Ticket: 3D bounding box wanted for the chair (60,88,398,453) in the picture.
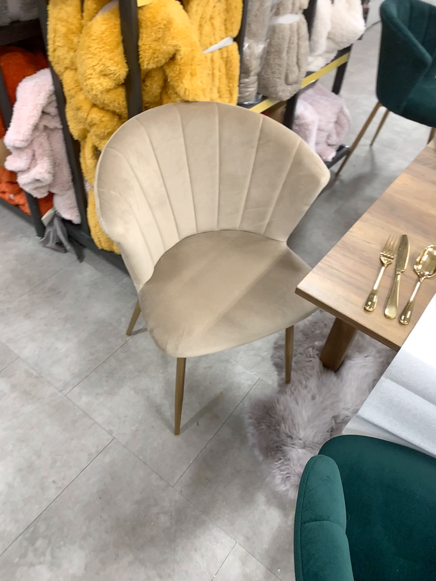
[{"bbox_3d":[-0.024,-0.052,1.238,0.561,0.722,0.539,-17,51,-20],"label":"chair"}]
